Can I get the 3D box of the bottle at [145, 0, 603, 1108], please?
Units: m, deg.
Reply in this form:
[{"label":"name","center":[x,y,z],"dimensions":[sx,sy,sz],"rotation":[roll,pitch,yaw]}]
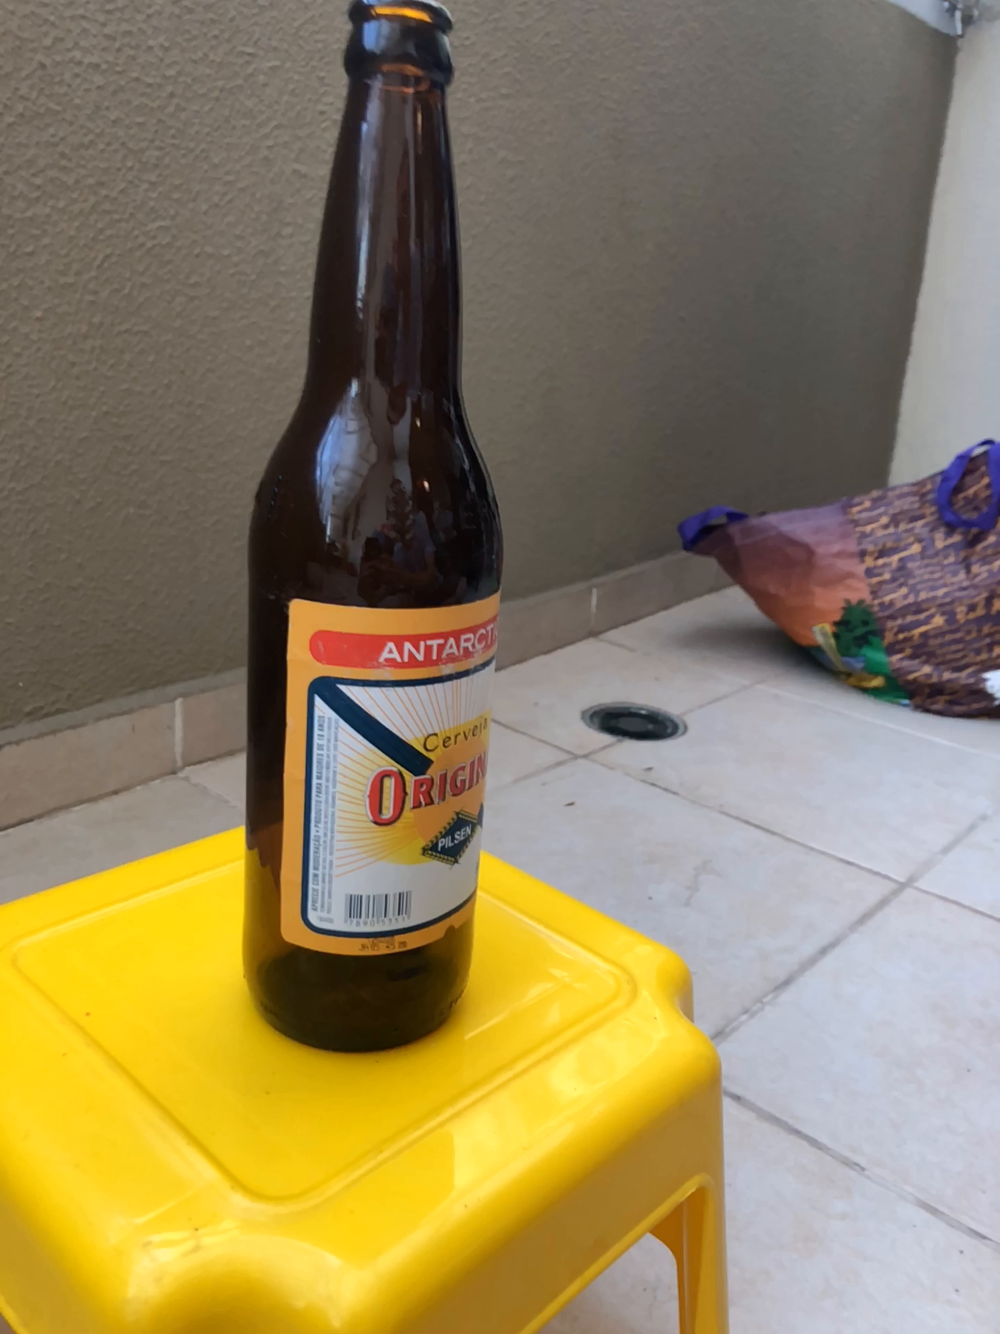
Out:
[{"label":"bottle","center":[-0.043,-0.034,0.315],"dimensions":[0.080,0.289,0.080],"rotation":[5,17,-1]}]
